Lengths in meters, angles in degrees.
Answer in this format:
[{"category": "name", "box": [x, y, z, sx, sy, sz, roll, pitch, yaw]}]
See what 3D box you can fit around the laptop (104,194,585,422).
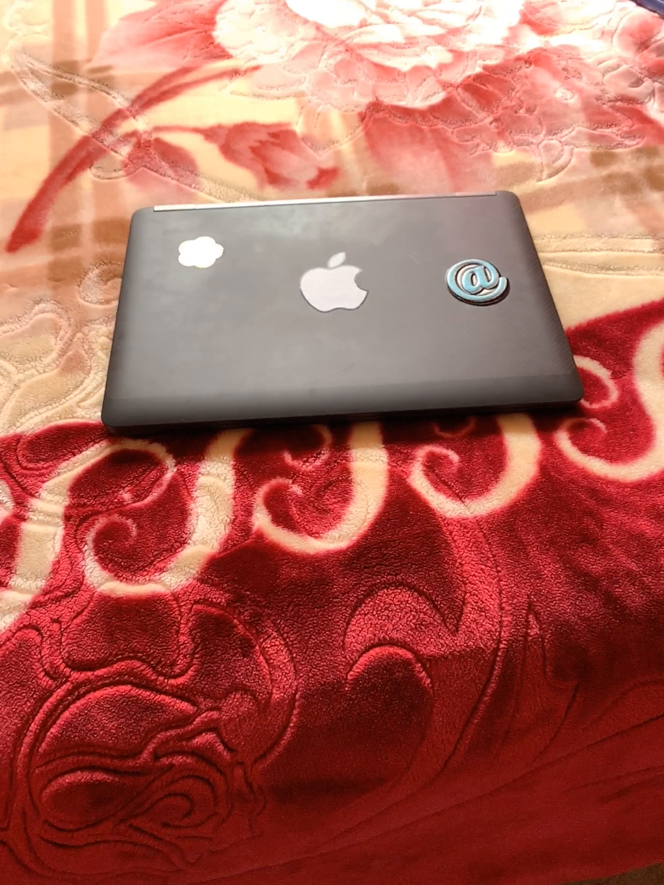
[{"category": "laptop", "box": [0.001, -0.105, 0.483, 0.299, 0.001, 0.209, -3, 55, -1]}]
